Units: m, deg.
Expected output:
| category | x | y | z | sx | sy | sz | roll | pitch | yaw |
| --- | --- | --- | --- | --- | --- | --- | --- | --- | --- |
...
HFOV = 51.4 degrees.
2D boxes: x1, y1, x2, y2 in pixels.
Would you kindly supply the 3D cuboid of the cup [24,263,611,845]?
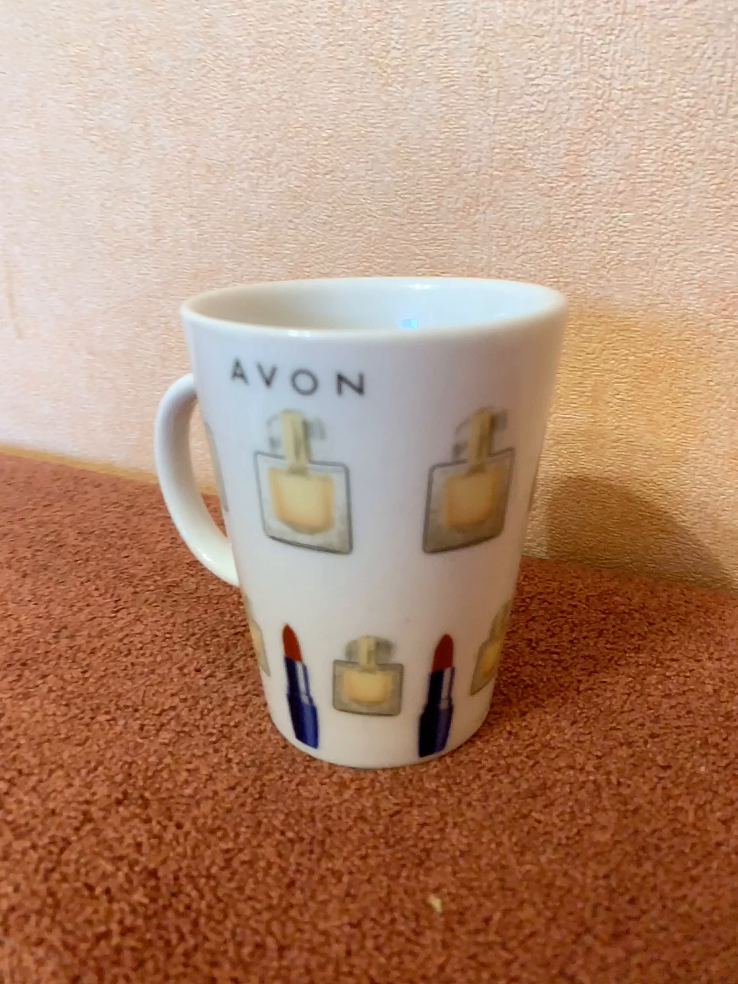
| category | x | y | z | sx | sy | sz | roll | pitch | yaw |
| --- | --- | --- | --- | --- | --- | --- | --- | --- | --- |
| cup | -0.010 | 0.001 | 0.181 | 0.103 | 0.093 | 0.071 | 14 | 28 | 31 |
